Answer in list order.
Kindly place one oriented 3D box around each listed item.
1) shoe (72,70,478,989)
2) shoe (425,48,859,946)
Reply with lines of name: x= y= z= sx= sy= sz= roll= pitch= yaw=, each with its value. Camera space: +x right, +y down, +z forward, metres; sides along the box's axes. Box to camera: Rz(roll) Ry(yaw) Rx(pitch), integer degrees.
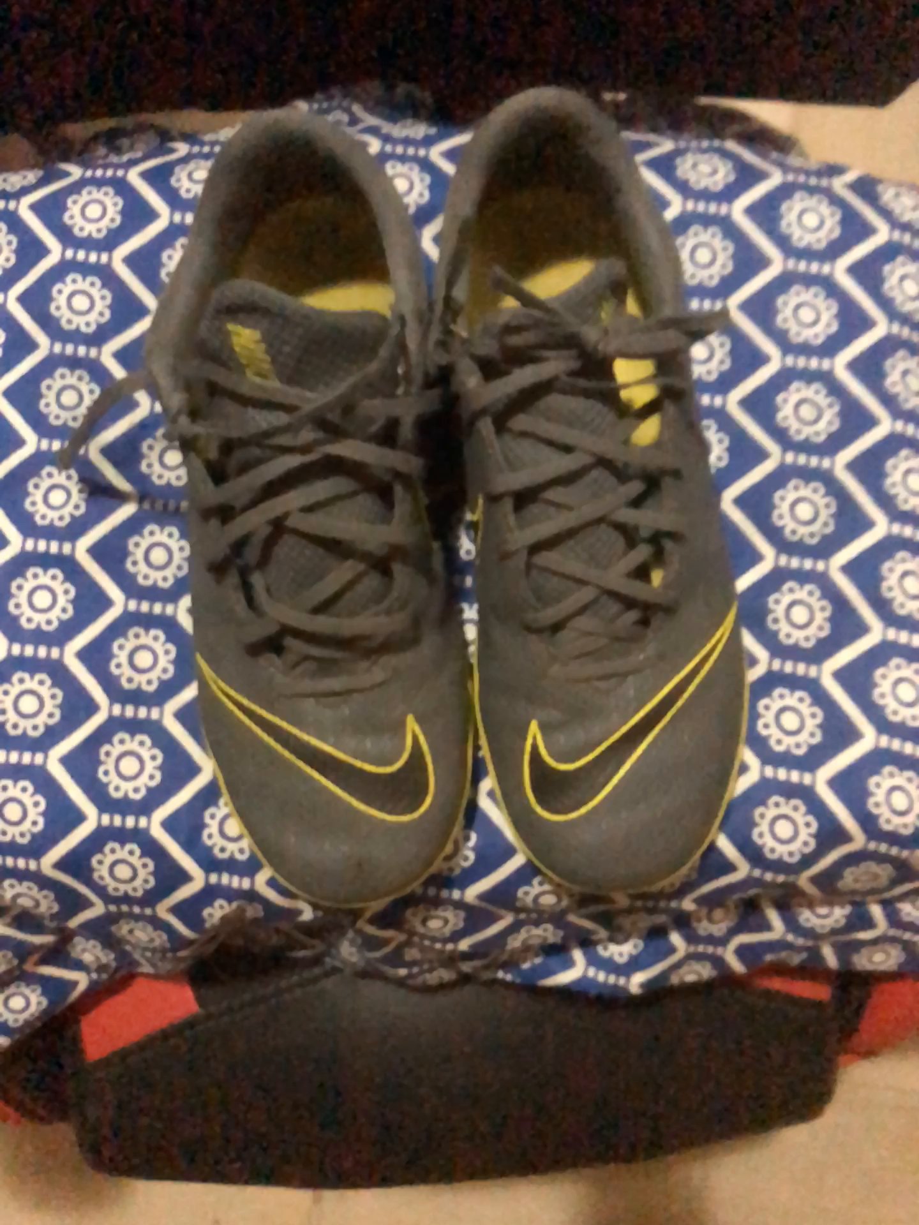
shoe: x=-0.051 y=-0.023 z=0.317 sx=0.090 sy=0.090 sz=0.240 roll=-6 pitch=84 yaw=0
shoe: x=0.047 y=-0.032 z=0.323 sx=0.090 sy=0.090 sz=0.240 roll=-6 pitch=84 yaw=0
